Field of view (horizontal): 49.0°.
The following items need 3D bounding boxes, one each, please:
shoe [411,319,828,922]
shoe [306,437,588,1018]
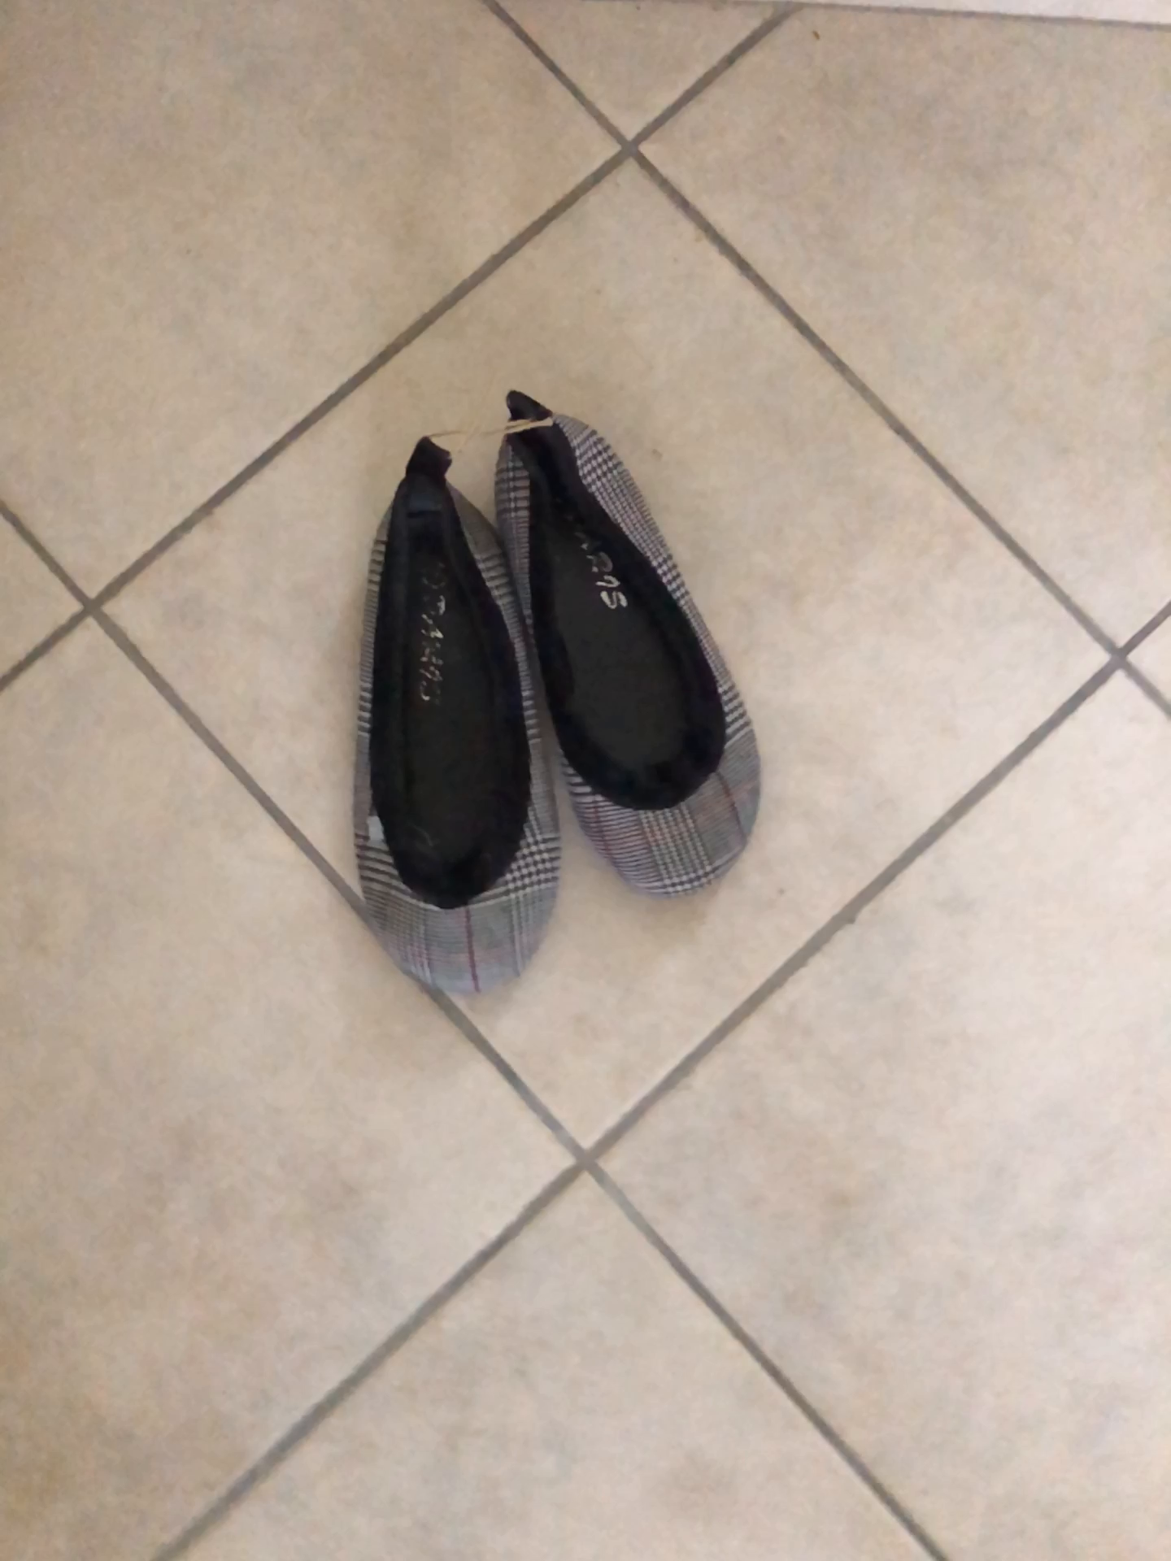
[{"bbox_3d":[0.011,-0.058,0.511,0.090,0.070,0.210,-19,85,-3],"label":"shoe"},{"bbox_3d":[-0.053,-0.019,0.507,0.090,0.070,0.210,-4,84,-2],"label":"shoe"}]
